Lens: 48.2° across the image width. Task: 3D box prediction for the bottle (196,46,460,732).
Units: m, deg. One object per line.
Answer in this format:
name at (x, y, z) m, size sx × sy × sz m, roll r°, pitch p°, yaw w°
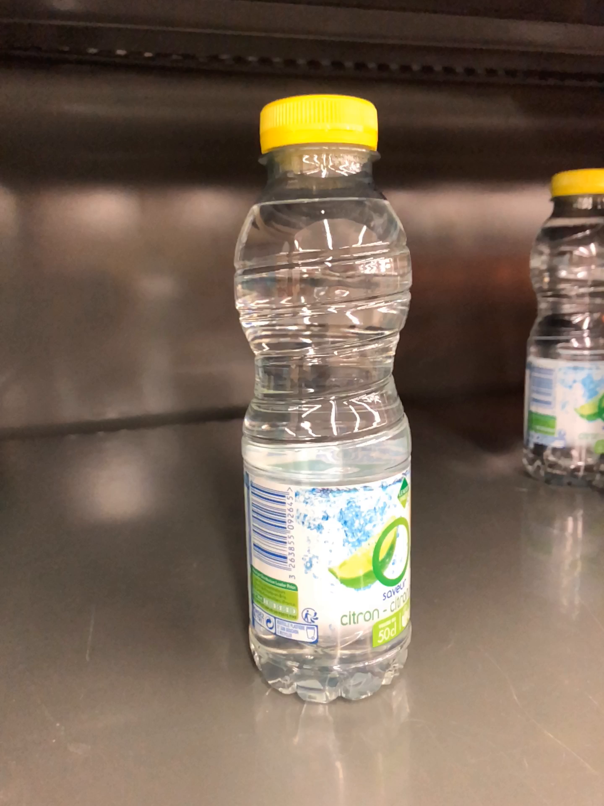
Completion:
bottle at (0.014, -0.004, 0.250) m, size 0.060 × 0.209 × 0.070 m, roll 7°, pitch 13°, yaw 41°
